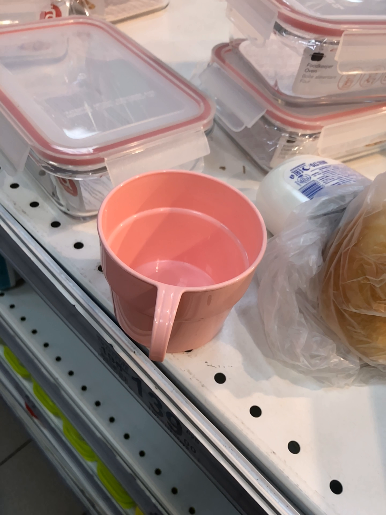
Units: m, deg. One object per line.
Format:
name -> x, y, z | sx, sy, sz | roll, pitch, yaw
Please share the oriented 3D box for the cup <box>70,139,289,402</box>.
cup -> -0.011, 0.005, 0.221 | 0.081, 0.070, 0.111 | 4, 49, -8
